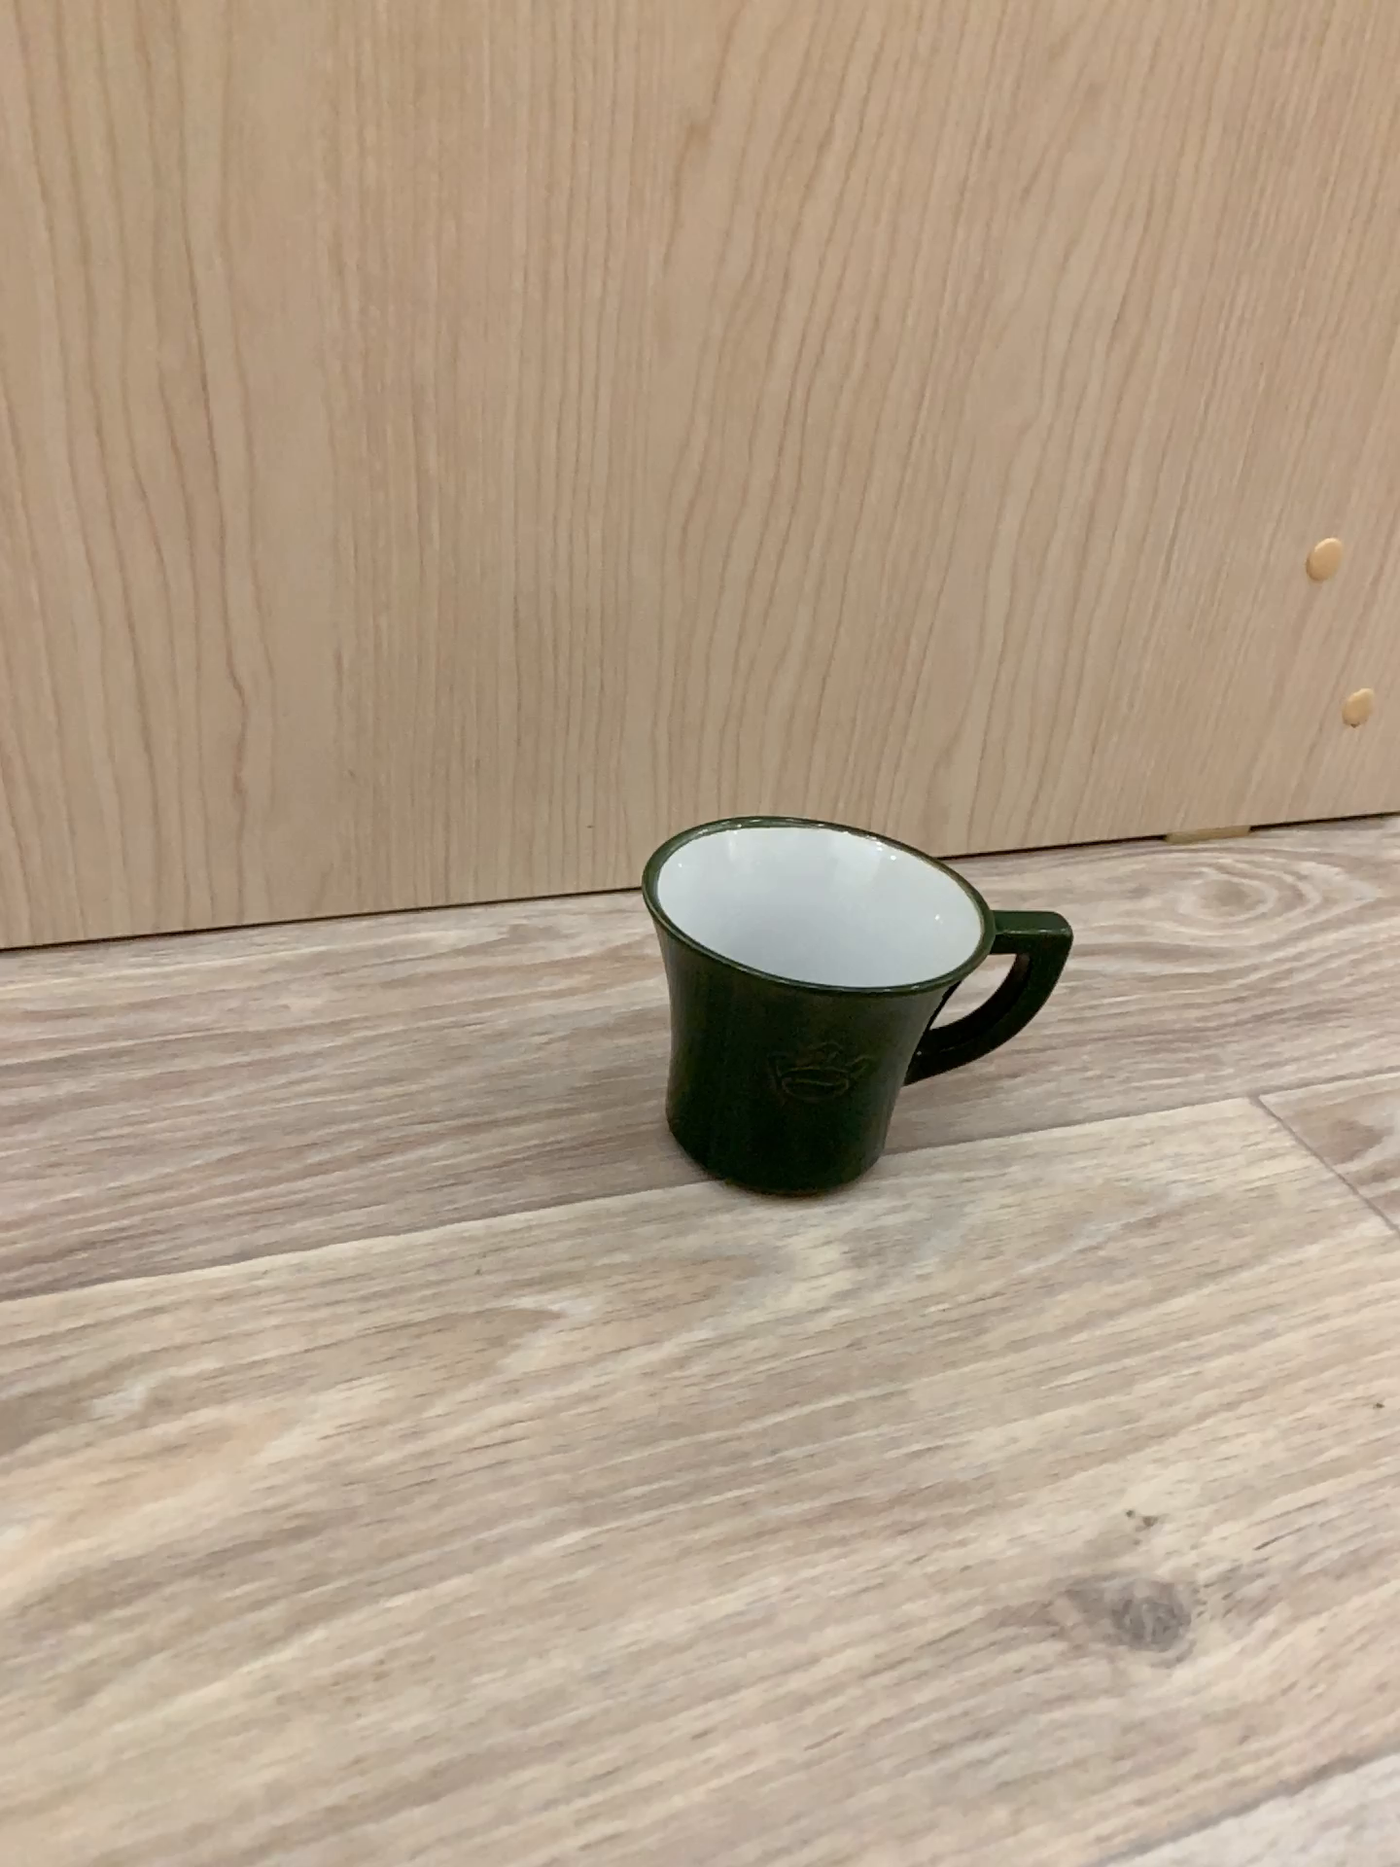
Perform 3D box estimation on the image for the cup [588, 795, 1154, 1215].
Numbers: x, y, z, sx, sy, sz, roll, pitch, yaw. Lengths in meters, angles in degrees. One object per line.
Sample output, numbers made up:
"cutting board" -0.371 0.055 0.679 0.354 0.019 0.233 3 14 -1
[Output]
"cup" 0.036 0.013 0.349 0.106 0.061 0.075 -5 32 -19
